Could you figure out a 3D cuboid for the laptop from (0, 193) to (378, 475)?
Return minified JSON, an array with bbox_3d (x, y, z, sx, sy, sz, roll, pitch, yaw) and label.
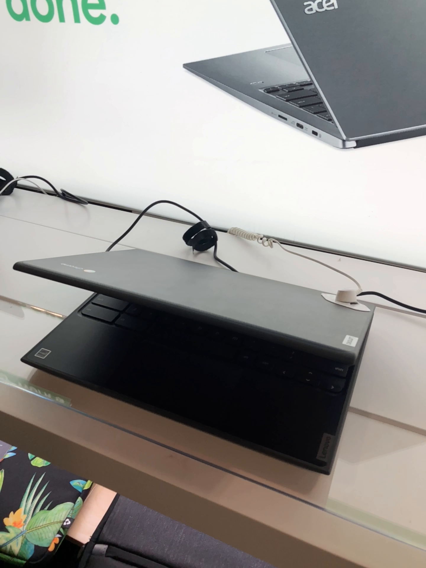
[{"bbox_3d":[-0.016,0.014,0.419,0.277,0.072,0.186,14,41,23],"label":"laptop"}]
